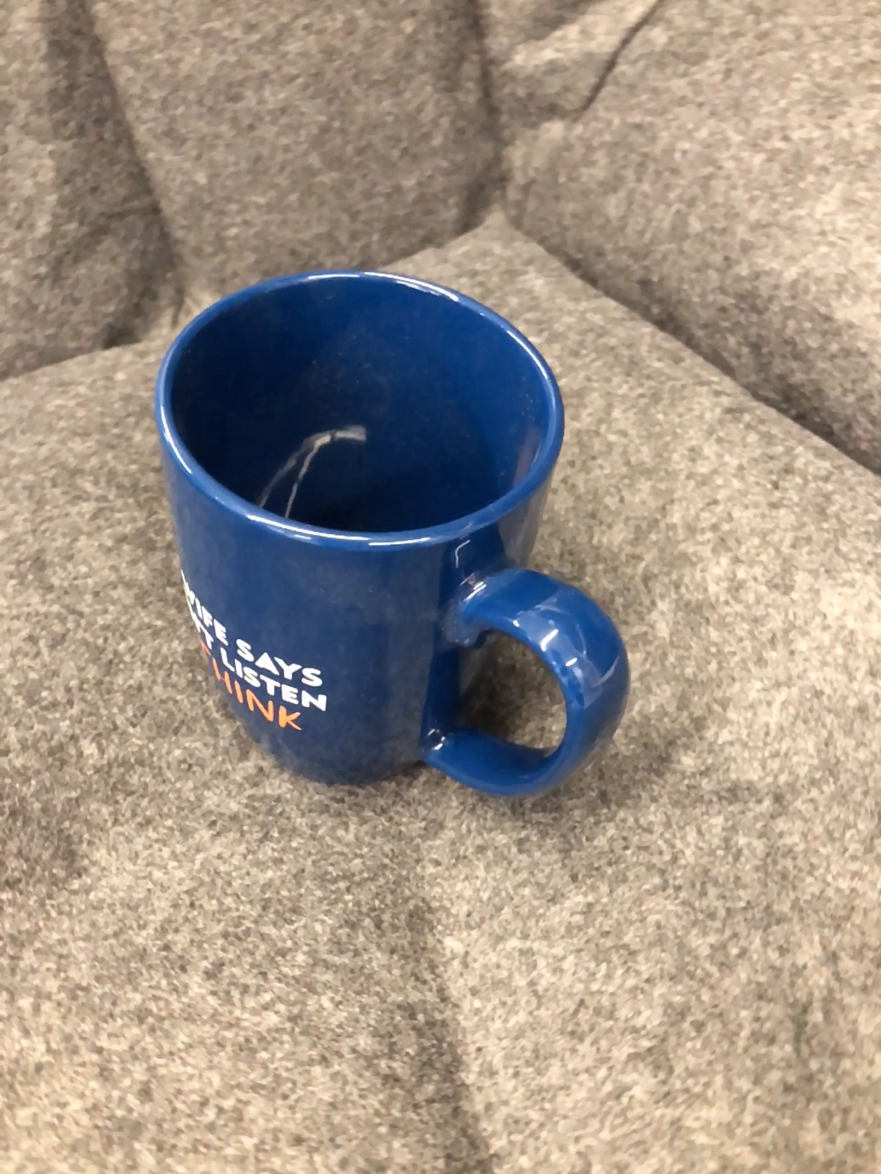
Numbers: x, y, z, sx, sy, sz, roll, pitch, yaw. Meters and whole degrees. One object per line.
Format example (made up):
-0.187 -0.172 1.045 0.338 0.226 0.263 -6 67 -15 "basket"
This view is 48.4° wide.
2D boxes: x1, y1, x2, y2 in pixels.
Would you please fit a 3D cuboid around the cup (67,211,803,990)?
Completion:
-0.008 0.000 0.241 0.090 0.109 0.131 -29 57 -23 "cup"
